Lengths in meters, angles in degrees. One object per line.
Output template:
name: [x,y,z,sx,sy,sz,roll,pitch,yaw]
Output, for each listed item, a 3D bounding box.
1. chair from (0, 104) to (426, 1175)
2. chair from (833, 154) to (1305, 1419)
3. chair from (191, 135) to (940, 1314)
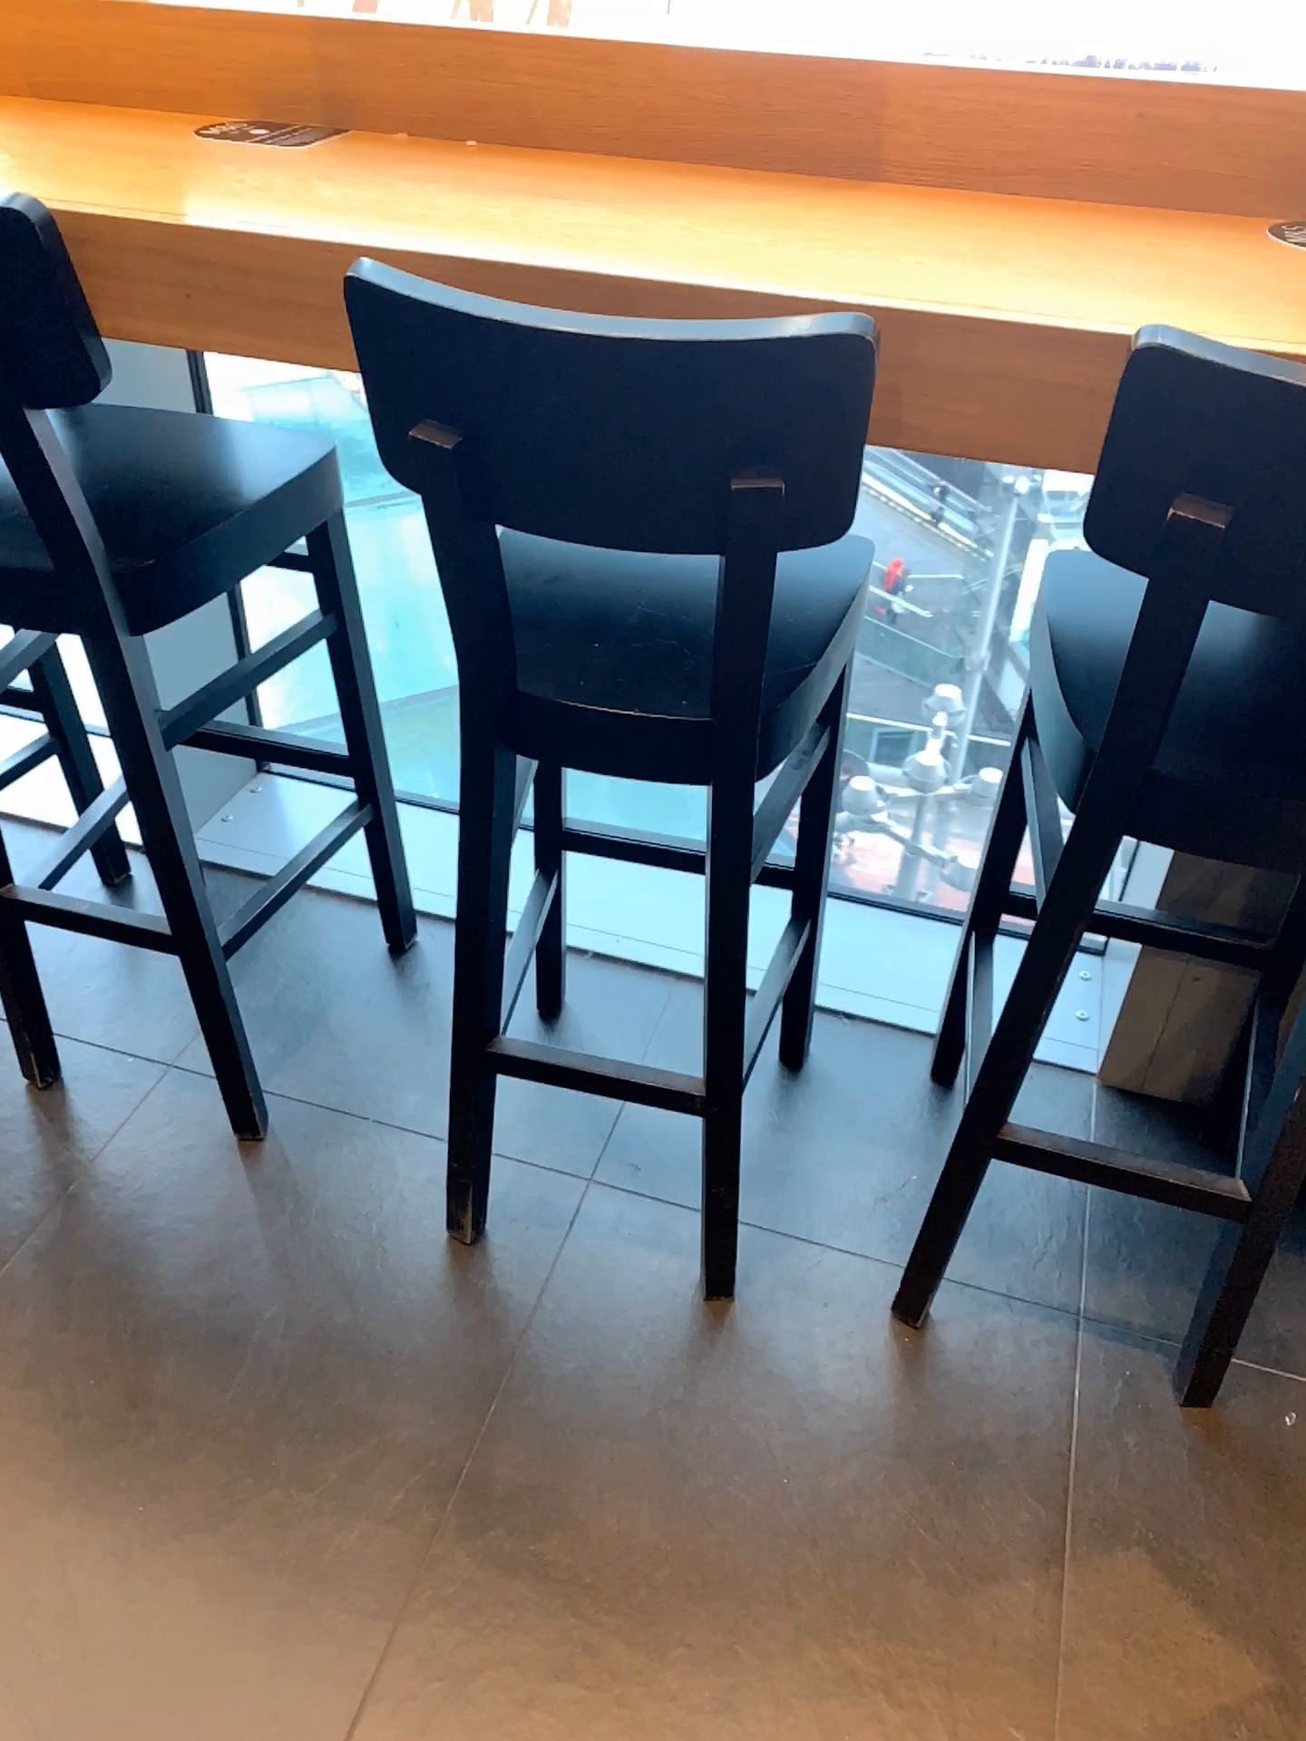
chair: [-0.569,-0.222,1.456,0.393,1.001,0.464,12,38,14]
chair: [0.463,-0.039,1.214,0.423,1.001,0.465,11,38,12]
chair: [-0.038,-0.109,1.311,0.452,1.001,0.465,10,38,10]
